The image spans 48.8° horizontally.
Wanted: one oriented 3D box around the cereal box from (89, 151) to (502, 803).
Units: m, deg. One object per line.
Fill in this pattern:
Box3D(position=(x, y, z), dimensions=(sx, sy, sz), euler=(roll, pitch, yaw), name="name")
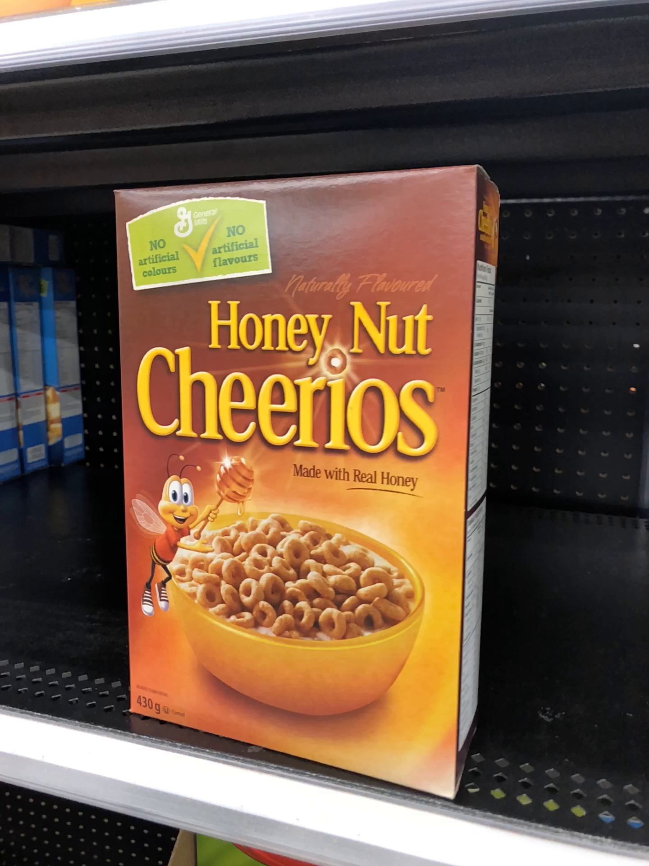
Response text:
Box3D(position=(-0.017, 0.018, 0.391), dimensions=(0.200, 0.299, 0.070), euler=(4, 10, 23), name="cereal box")
